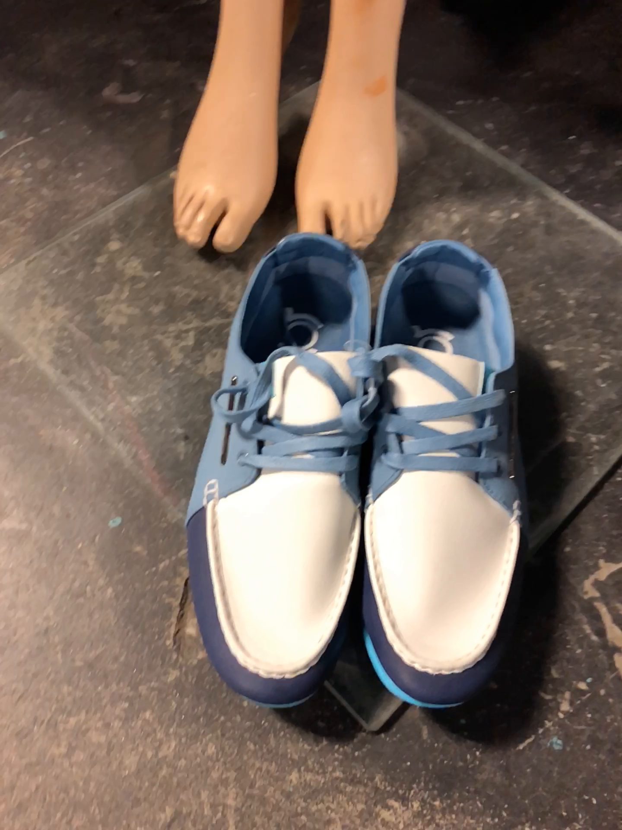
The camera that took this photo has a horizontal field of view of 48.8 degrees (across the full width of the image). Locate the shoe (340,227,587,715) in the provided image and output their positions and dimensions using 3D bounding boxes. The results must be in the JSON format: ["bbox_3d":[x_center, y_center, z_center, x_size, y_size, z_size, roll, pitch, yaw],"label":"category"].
[{"bbox_3d":[0.078,0.024,0.391,0.100,0.099,0.251,5,60,4],"label":"shoe"}]

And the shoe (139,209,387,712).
[{"bbox_3d":[-0.015,0.017,0.391,0.090,0.099,0.261,6,60,1],"label":"shoe"}]
